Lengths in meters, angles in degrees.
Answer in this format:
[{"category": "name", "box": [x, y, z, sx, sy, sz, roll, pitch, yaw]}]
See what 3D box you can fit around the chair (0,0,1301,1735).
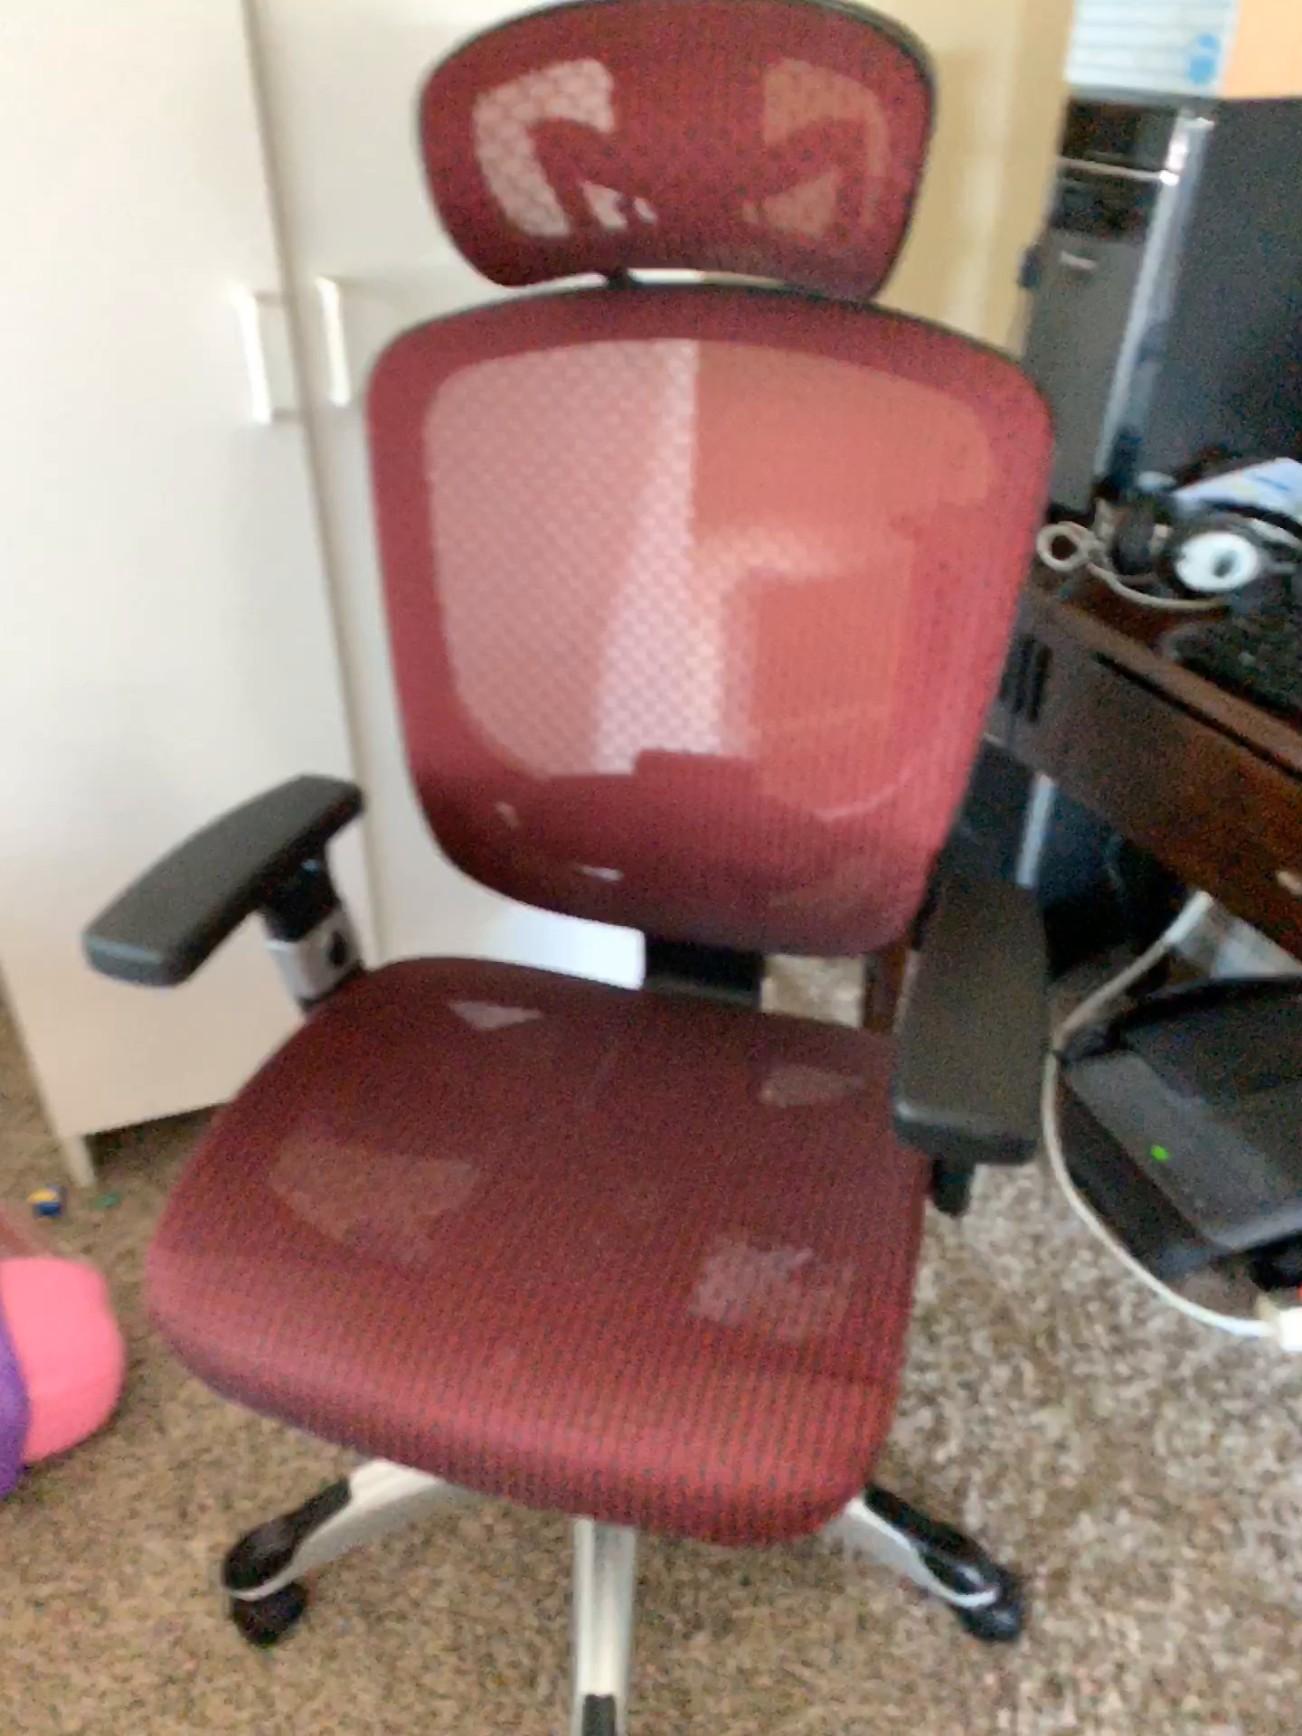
[{"category": "chair", "box": [0.016, 0.077, 0.915, 0.730, 1.155, 0.814, 11, 35, 17]}]
